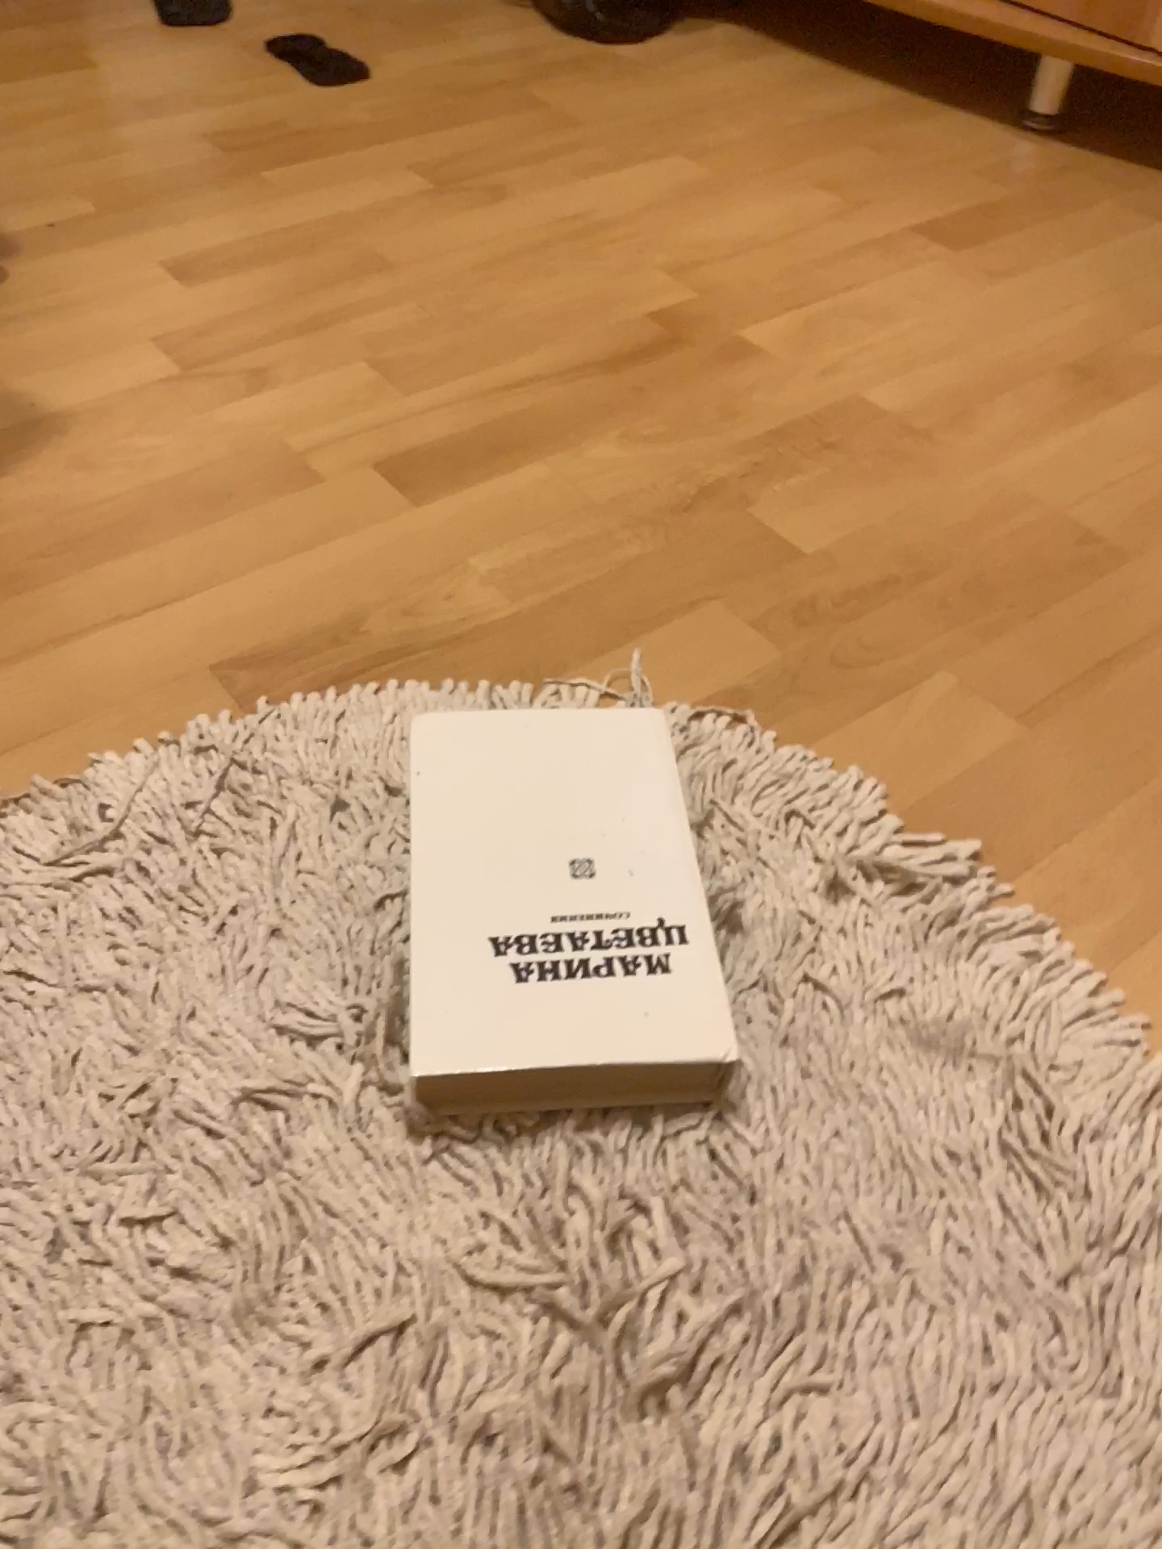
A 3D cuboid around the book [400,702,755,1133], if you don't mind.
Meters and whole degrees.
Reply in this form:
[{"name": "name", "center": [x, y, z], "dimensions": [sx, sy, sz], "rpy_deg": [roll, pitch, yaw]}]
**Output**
[{"name": "book", "center": [-0.011, 0.054, 0.555], "dimensions": [0.140, 0.040, 0.209], "rpy_deg": [-3, 46, -5]}]
